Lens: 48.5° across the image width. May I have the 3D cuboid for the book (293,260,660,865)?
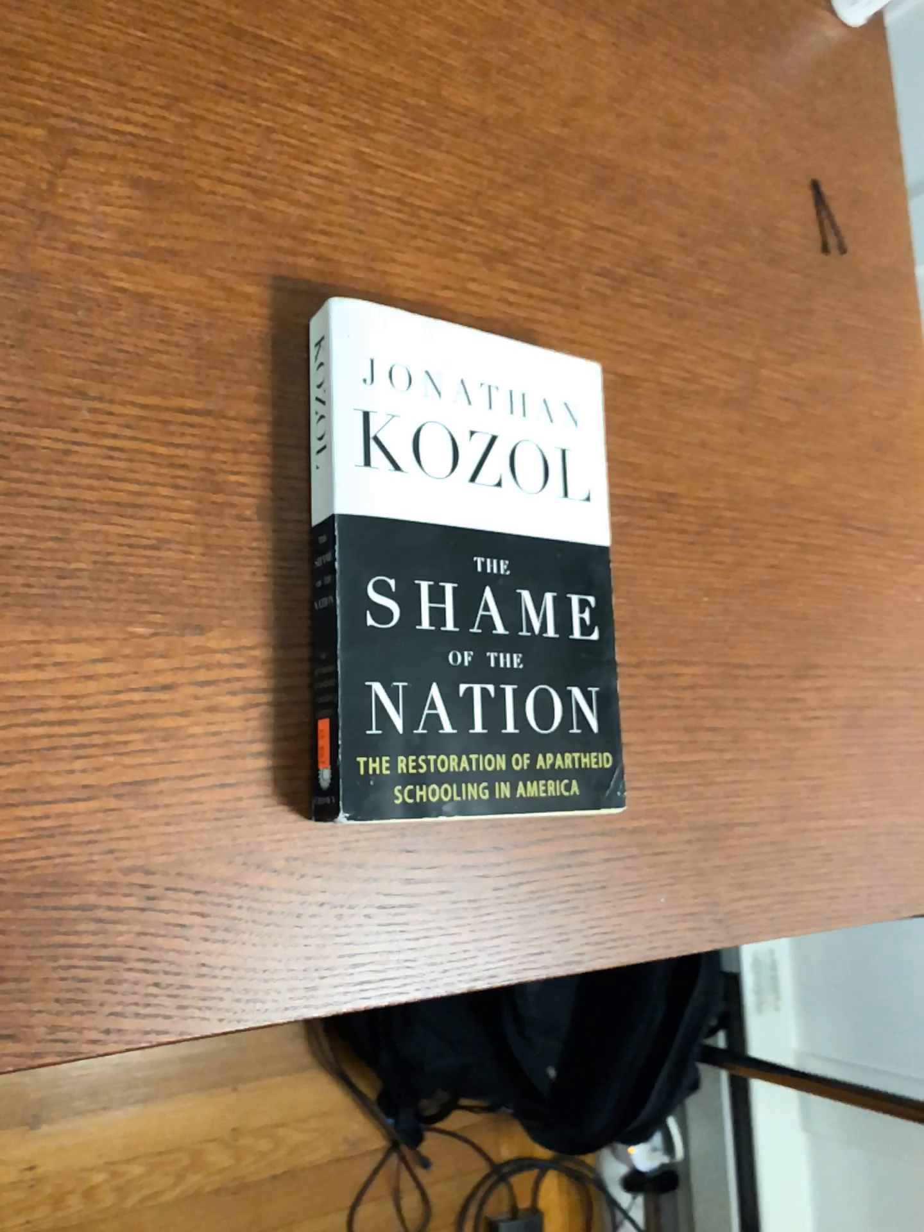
[{"bbox_3d":[0.010,-0.017,0.437,0.160,0.030,0.230,6,78,-33],"label":"book"}]
